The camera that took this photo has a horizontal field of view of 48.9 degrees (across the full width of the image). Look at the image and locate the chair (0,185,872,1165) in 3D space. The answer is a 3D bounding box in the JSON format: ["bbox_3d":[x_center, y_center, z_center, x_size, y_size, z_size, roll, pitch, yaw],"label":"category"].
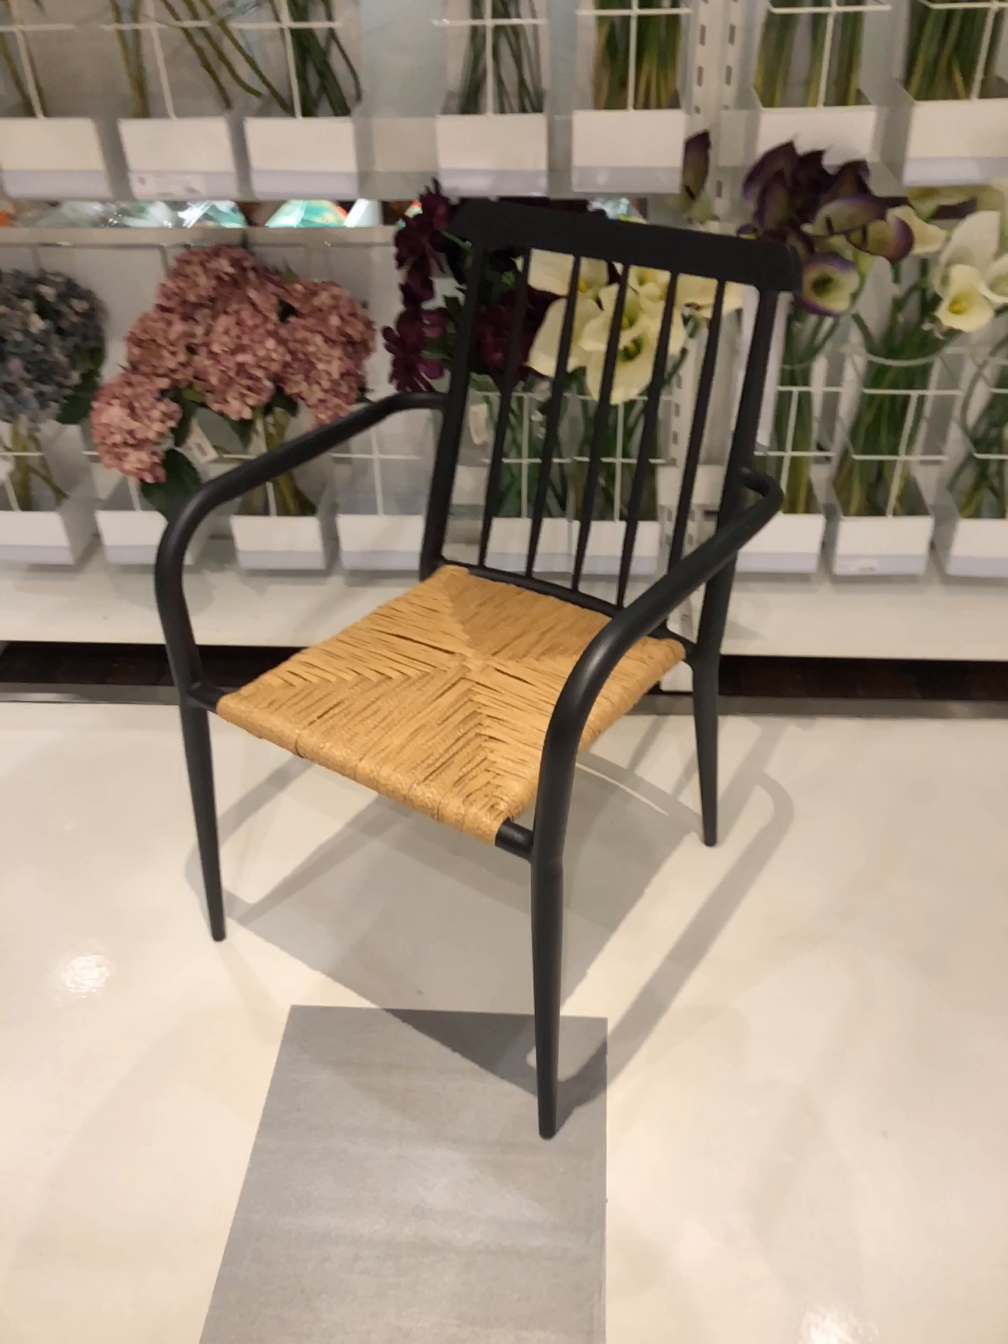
[{"bbox_3d":[-0.023,-0.036,1.218,0.541,0.754,0.583,21,43,28],"label":"chair"}]
